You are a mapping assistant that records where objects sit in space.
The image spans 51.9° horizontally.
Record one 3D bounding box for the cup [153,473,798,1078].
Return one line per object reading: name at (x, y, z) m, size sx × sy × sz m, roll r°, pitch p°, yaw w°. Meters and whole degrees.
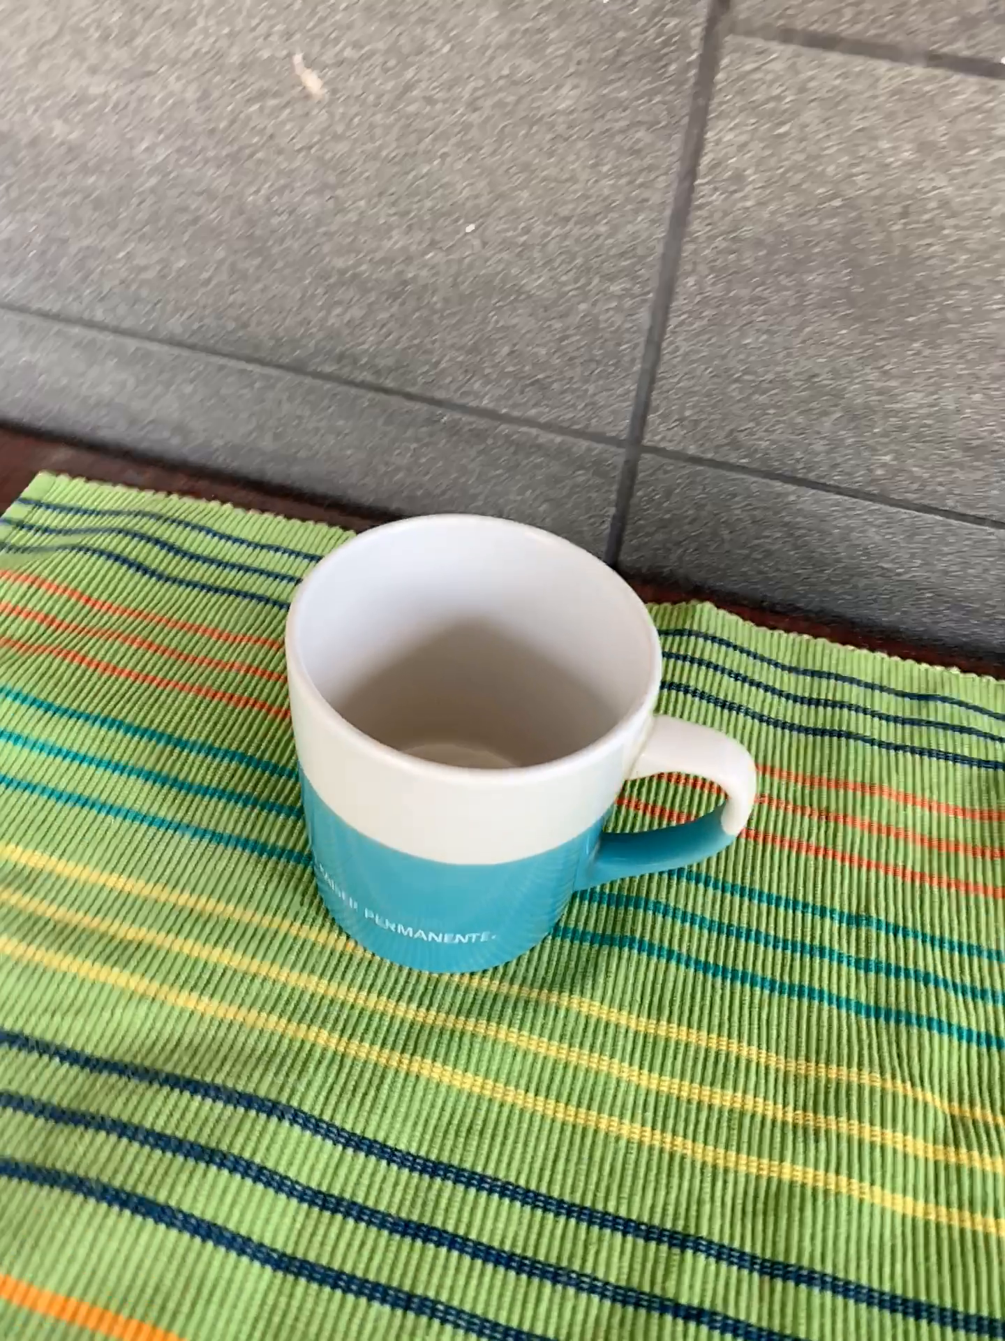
cup at (-0.002, 0.027, 0.290) m, size 0.140 × 0.100 × 0.100 m, roll 12°, pitch 44°, yaw 6°
